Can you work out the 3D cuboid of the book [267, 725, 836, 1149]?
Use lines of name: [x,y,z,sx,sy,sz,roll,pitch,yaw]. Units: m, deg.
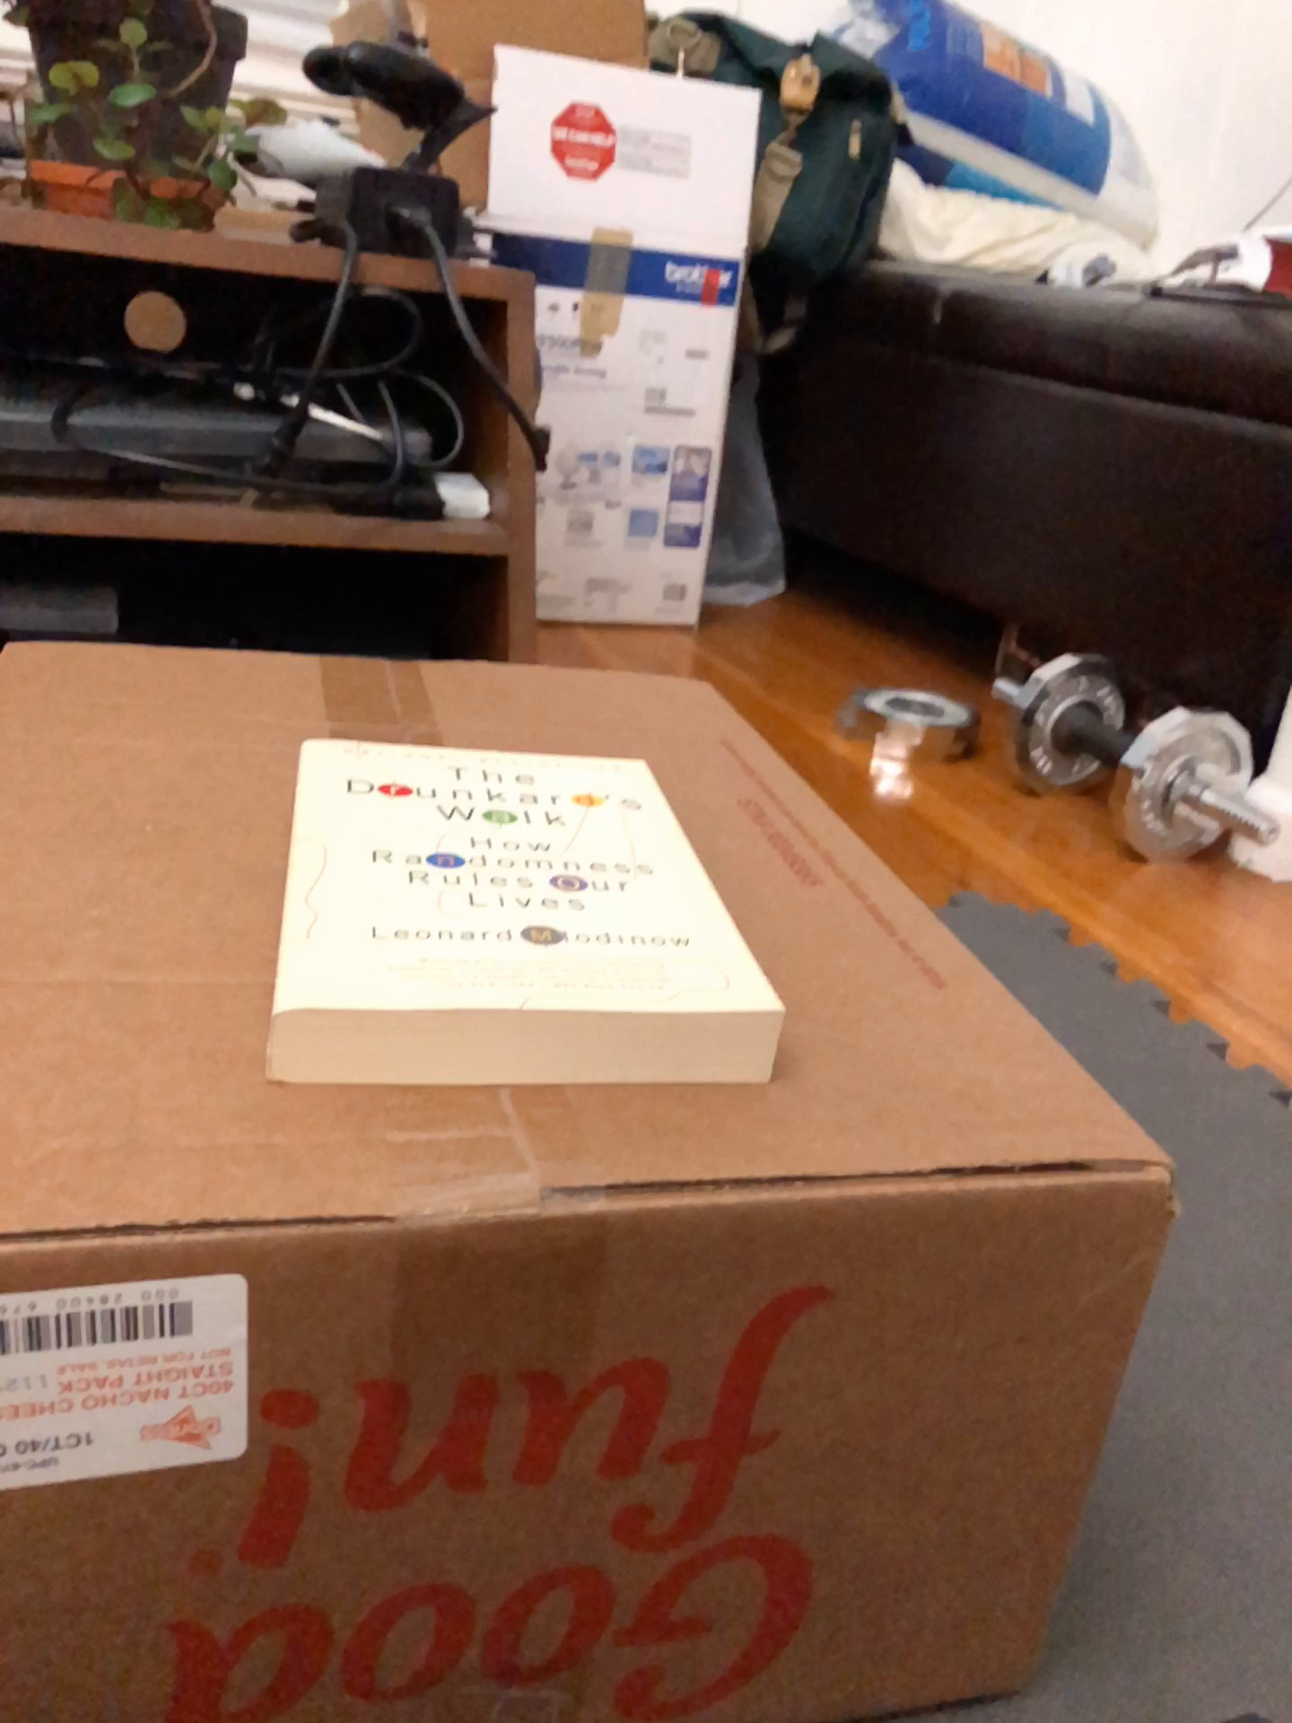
book: [-0.042,0.012,0.450,0.140,0.040,0.211,2,23,-13]
